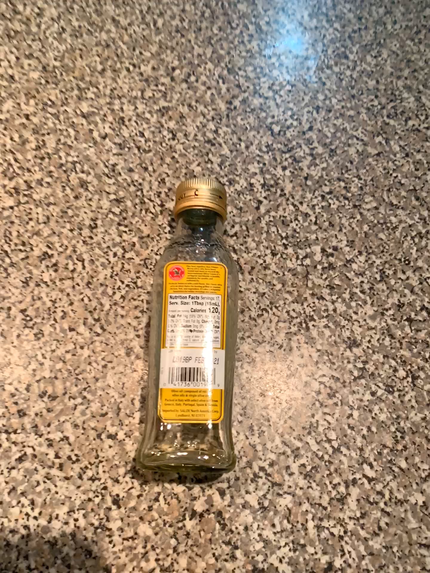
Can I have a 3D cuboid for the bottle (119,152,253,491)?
[{"bbox_3d":[-0.012,0.017,0.258,0.060,0.060,0.180,2,70,-2],"label":"bottle"}]
